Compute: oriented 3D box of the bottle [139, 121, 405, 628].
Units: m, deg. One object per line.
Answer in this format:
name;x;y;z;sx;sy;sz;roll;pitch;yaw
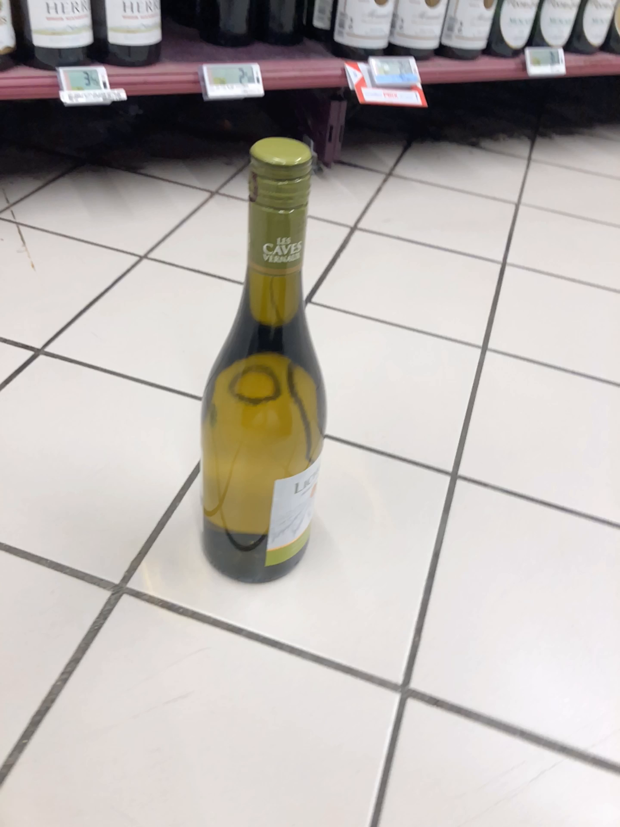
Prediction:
bottle;-0.027;-0.005;0.398;0.090;0.278;0.091;4;41;-4
